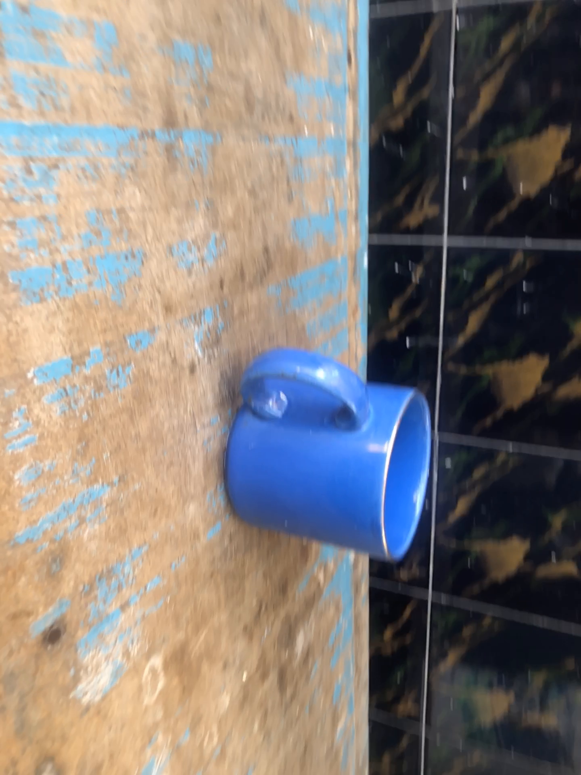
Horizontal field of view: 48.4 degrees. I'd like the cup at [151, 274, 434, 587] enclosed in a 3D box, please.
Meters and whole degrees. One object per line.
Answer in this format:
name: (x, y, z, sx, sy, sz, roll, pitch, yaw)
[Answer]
cup: (0.011, 0.020, 0.264, 0.111, 0.070, 0.070, 67, 37, -49)
